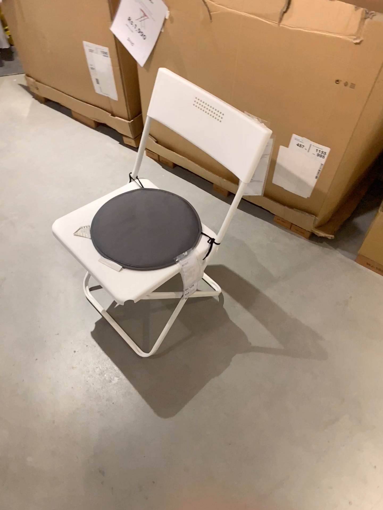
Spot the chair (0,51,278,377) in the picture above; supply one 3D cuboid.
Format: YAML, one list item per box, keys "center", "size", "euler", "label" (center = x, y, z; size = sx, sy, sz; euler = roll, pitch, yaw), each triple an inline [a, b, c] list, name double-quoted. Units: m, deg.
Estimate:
- center: [-0.150, -0.093, 1.202]
  size: [0.480, 0.738, 0.491]
  euler: [-35, 61, -25]
  label: "chair"
